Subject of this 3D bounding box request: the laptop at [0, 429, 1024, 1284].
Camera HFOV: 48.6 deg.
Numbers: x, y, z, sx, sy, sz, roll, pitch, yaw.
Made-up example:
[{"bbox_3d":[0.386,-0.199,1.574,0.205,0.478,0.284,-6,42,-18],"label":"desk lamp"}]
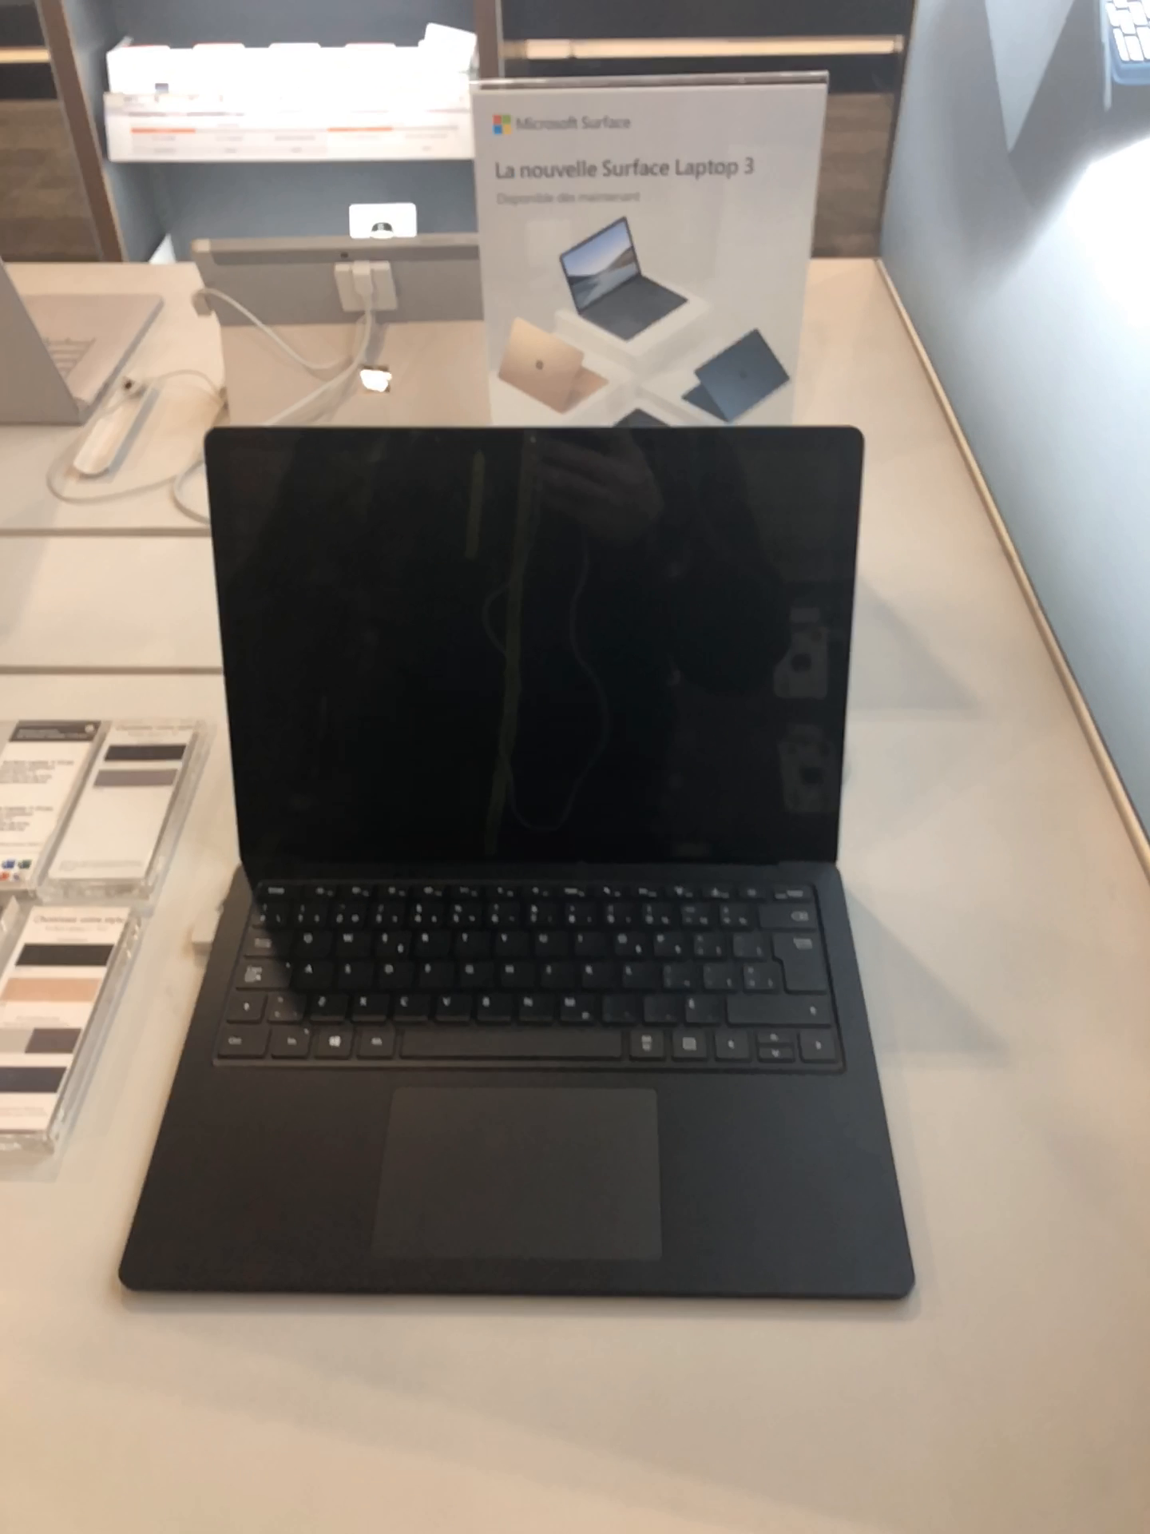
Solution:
[{"bbox_3d":[-0.023,0.020,0.544,0.308,0.197,0.315,0,41,1],"label":"laptop"}]
